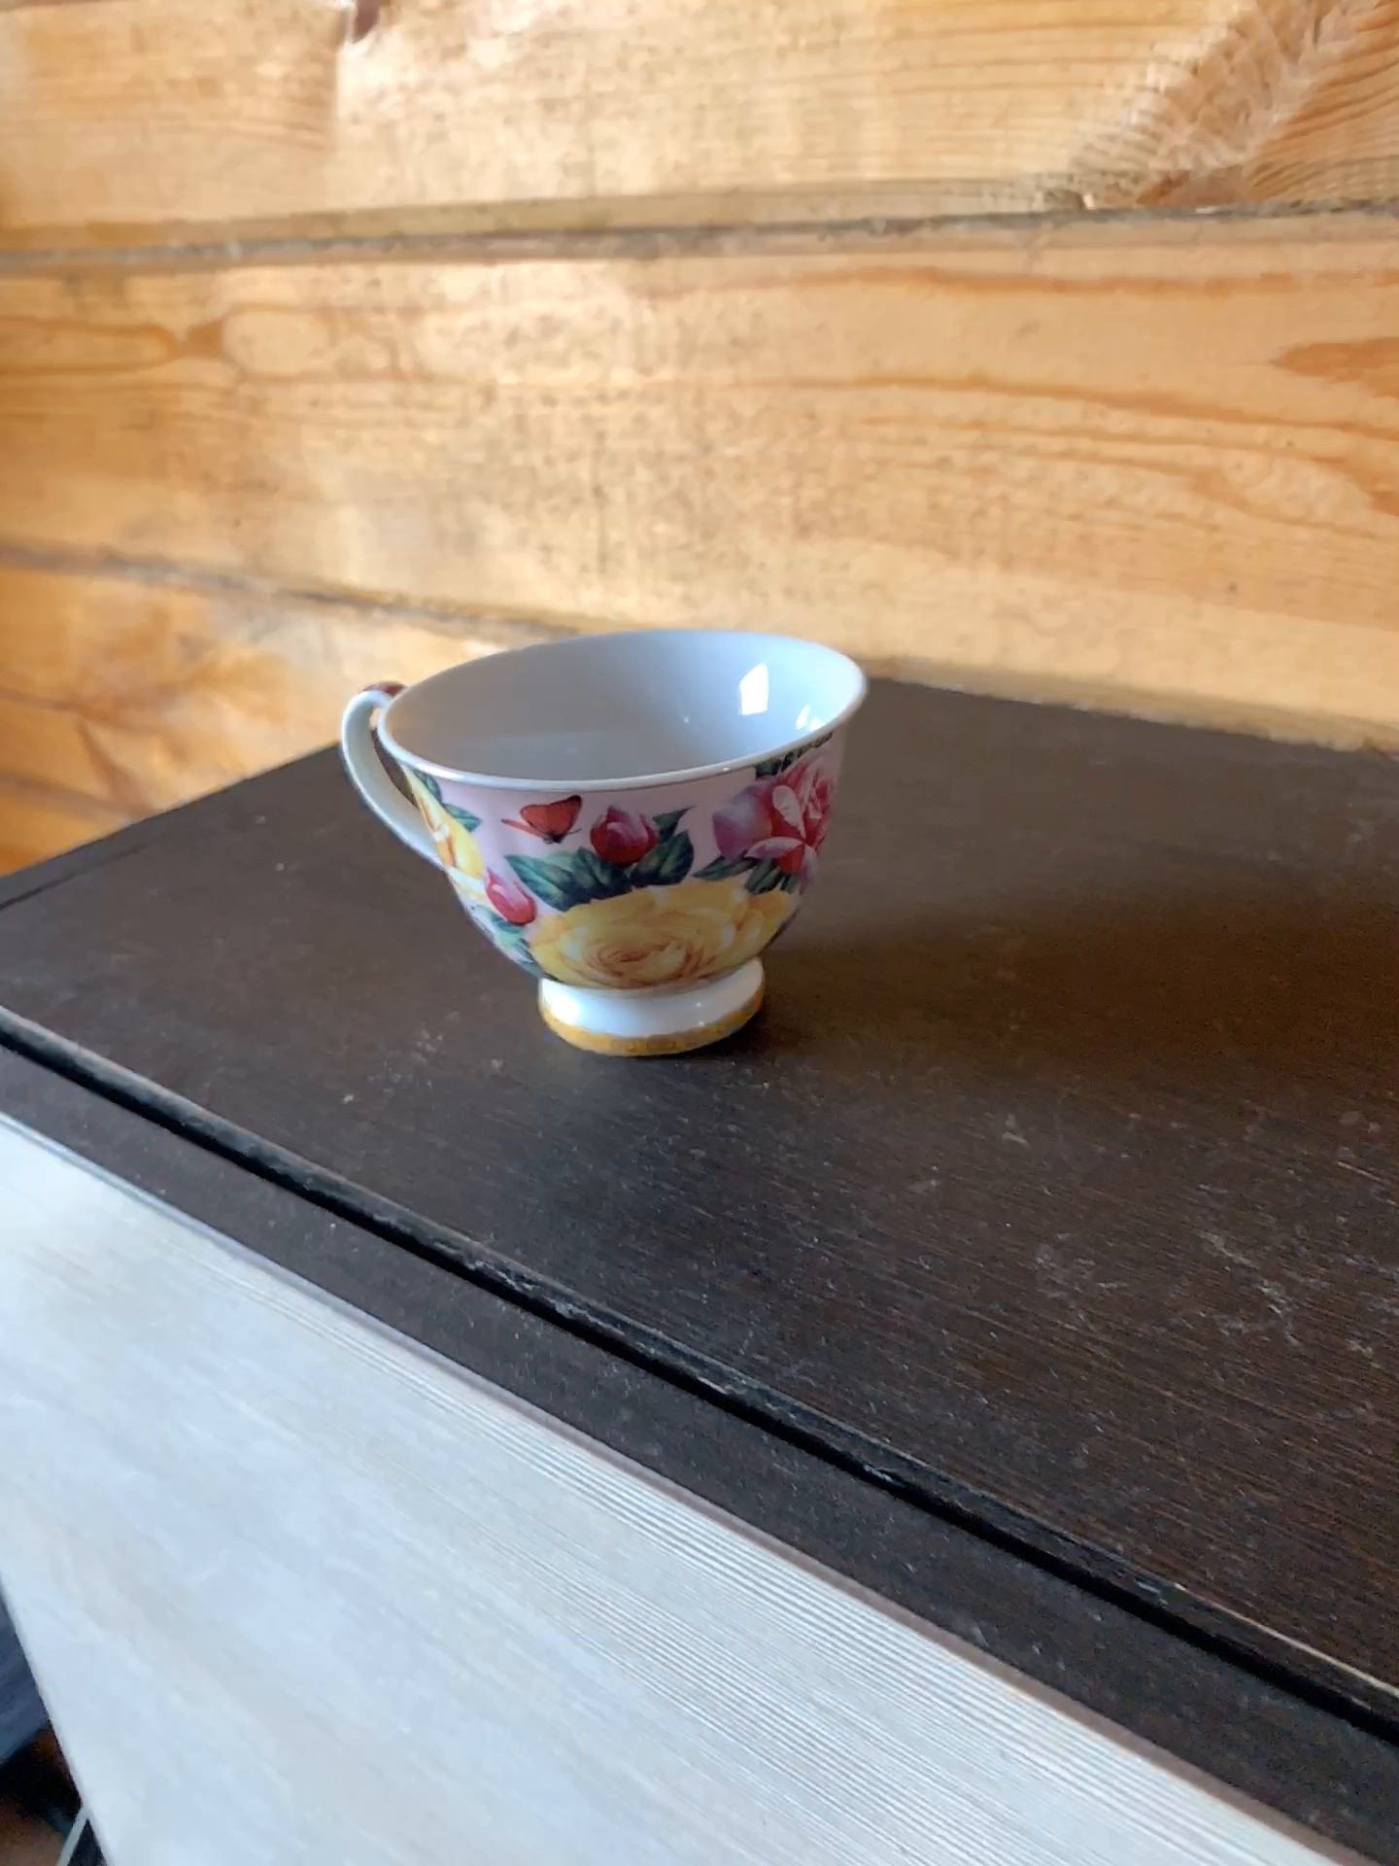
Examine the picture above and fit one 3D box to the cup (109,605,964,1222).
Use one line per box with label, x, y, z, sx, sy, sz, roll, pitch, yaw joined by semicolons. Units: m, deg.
cup;-0.028;-0.016;0.281;0.120;0.060;0.101;16;32;34
